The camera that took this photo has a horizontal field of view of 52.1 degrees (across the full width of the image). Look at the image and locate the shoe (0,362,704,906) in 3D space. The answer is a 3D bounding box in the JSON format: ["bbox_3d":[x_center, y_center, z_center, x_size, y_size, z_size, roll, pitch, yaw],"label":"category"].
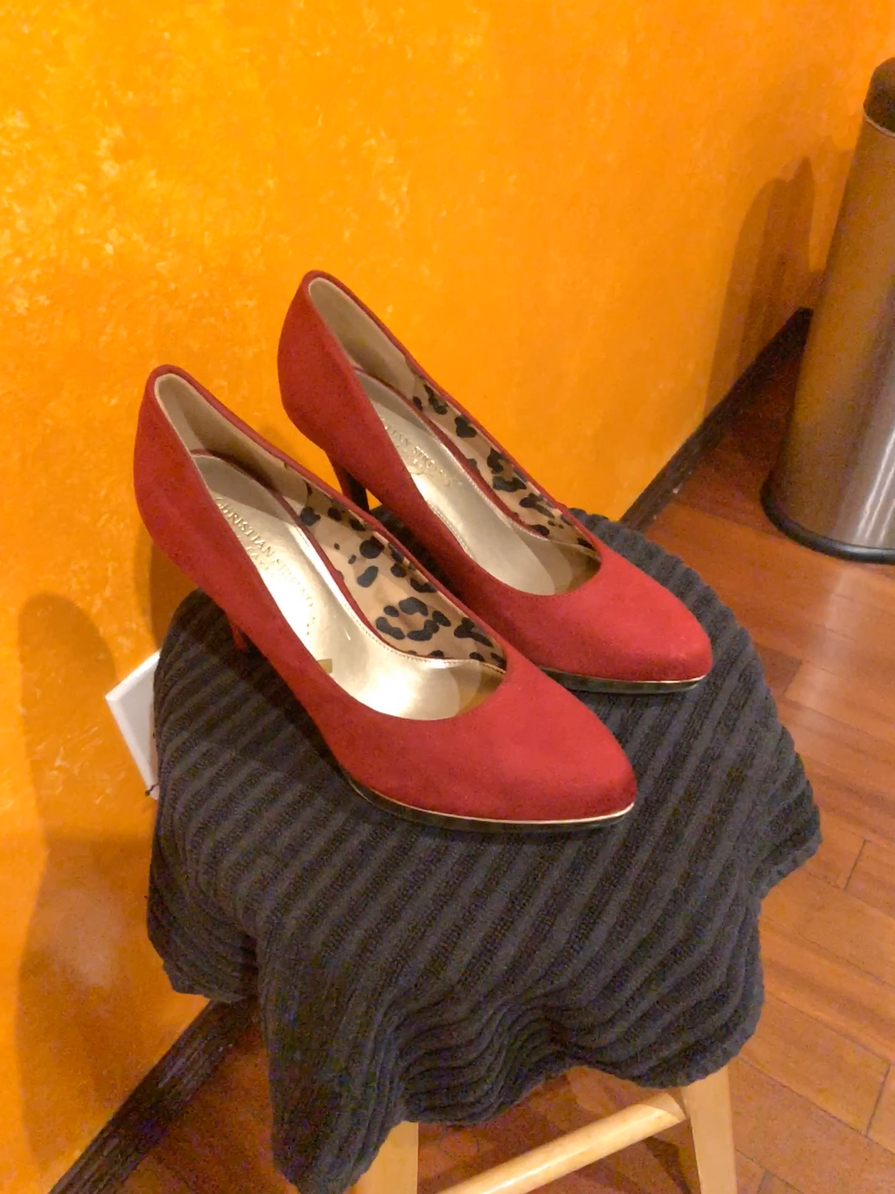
[{"bbox_3d":[-0.053,-0.003,0.396,0.291,0.119,0.100,18,44,29],"label":"shoe"}]

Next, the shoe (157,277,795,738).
[{"bbox_3d":[0.005,-0.057,0.436,0.271,0.128,0.093,19,44,29],"label":"shoe"}]
